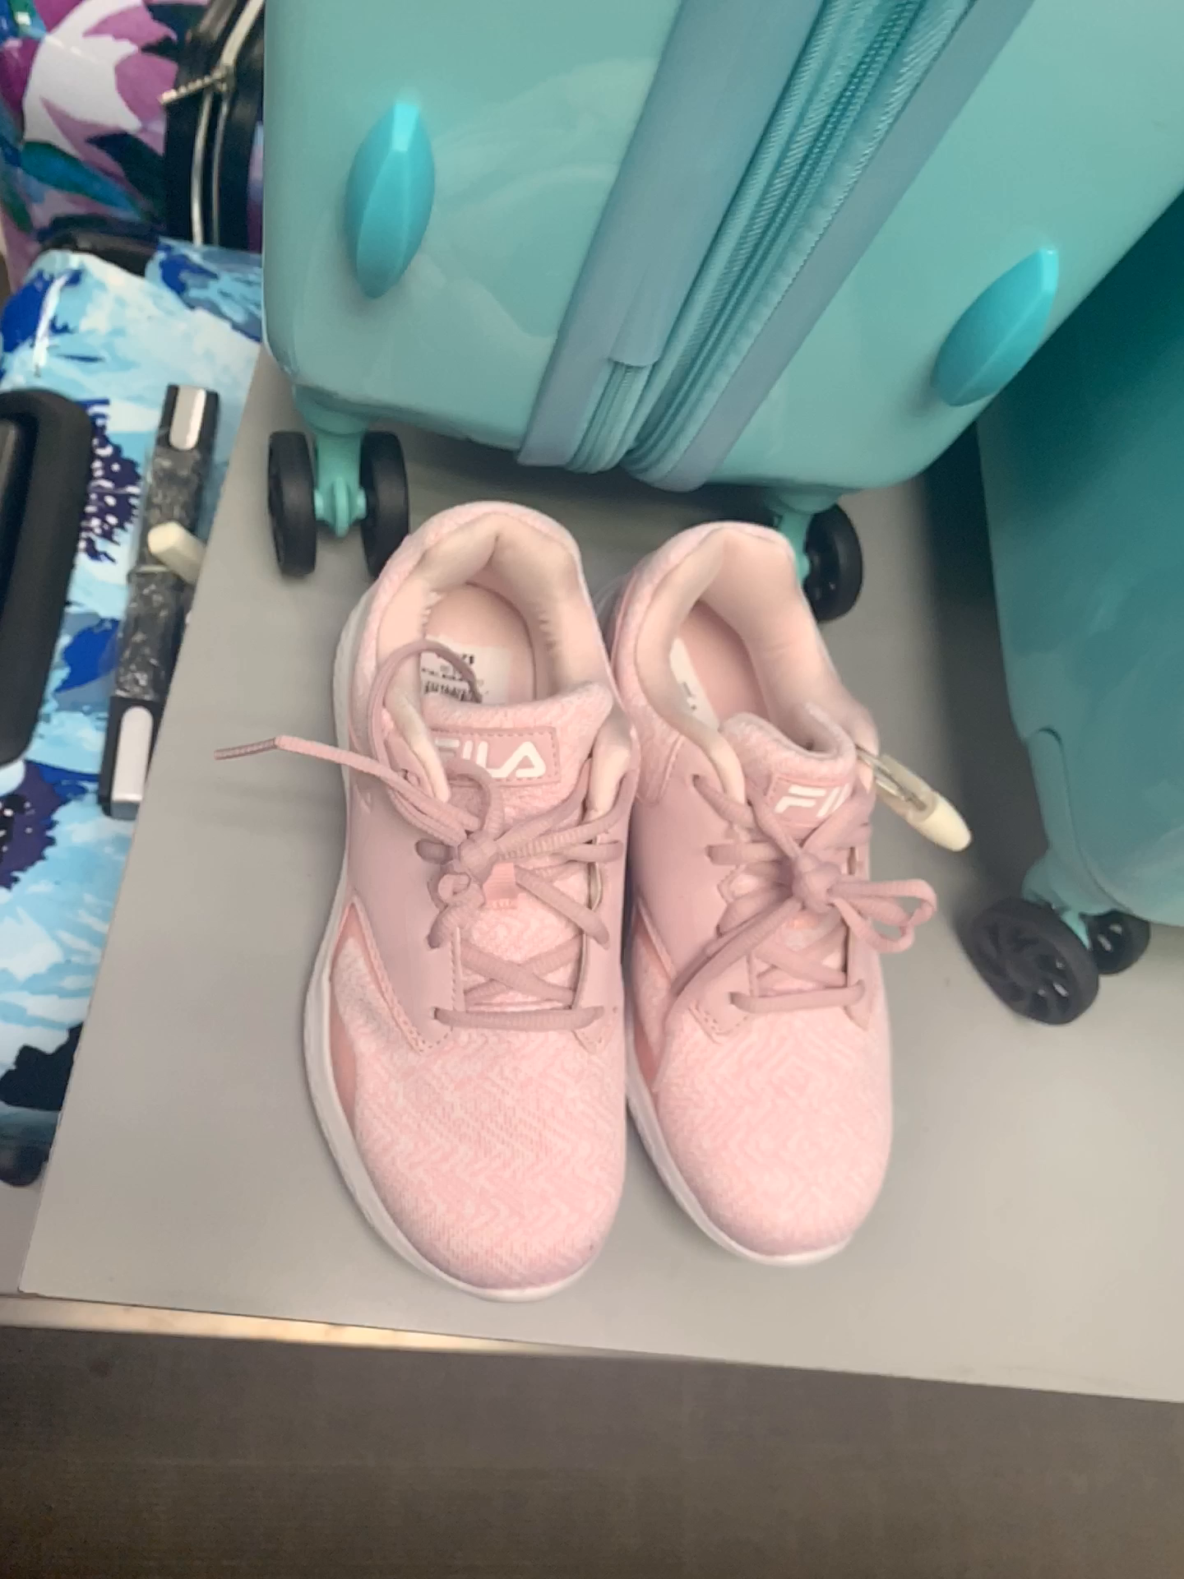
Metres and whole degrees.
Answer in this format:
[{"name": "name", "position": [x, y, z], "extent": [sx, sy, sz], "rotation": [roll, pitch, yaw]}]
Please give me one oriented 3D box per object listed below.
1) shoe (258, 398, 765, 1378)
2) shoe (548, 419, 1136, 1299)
[{"name": "shoe", "position": [-0.039, 0.024, 0.363], "extent": [0.108, 0.104, 0.250], "rotation": [-2, 70, -17]}, {"name": "shoe", "position": [0.063, 0.021, 0.395], "extent": [0.108, 0.104, 0.250], "rotation": [-2, 70, -17]}]
